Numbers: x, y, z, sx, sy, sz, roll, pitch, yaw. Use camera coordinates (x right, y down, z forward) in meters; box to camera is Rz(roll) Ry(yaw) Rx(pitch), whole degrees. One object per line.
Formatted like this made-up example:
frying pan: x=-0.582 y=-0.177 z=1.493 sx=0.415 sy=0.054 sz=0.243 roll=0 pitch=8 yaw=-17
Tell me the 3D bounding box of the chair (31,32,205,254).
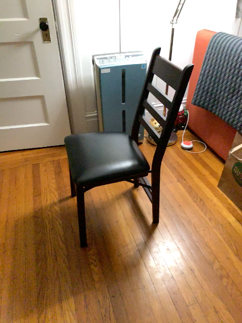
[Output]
chair: x=-0.050 y=-0.095 z=1.204 sx=0.550 sy=0.865 sz=0.493 roll=-12 pitch=37 yaw=-15
